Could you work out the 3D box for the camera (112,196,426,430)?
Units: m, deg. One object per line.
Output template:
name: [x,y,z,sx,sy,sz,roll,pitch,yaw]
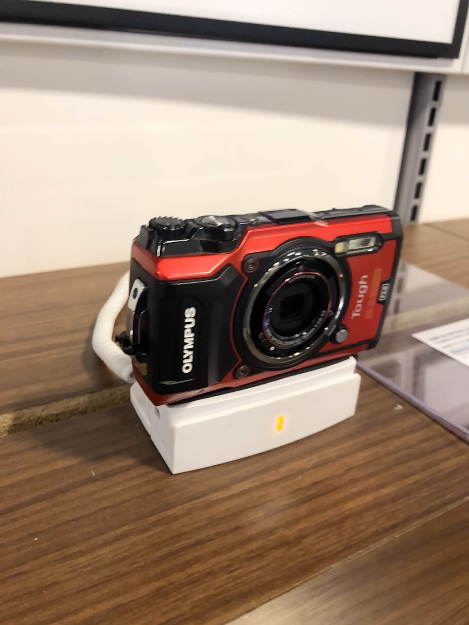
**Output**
camera: [0.016,-0.005,0.211,0.120,0.070,0.030,-10,27,-27]
